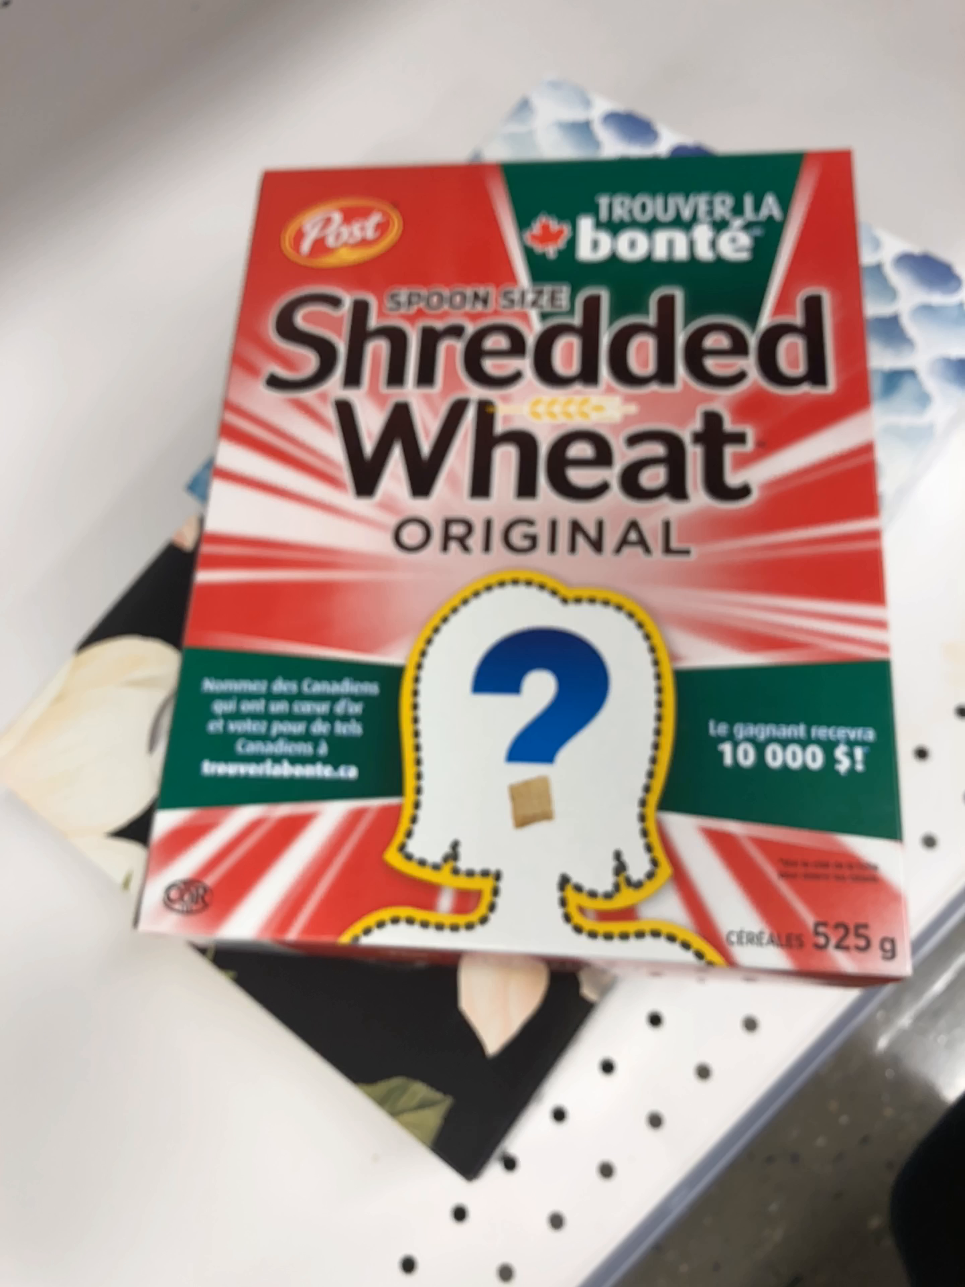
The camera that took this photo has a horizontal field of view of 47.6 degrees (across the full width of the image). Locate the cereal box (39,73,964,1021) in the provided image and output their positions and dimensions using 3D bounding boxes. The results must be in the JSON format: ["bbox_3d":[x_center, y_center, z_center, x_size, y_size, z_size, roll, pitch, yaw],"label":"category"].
[{"bbox_3d":[0.014,-0.040,0.340,0.230,0.060,0.280,1,69,9],"label":"cereal box"}]
